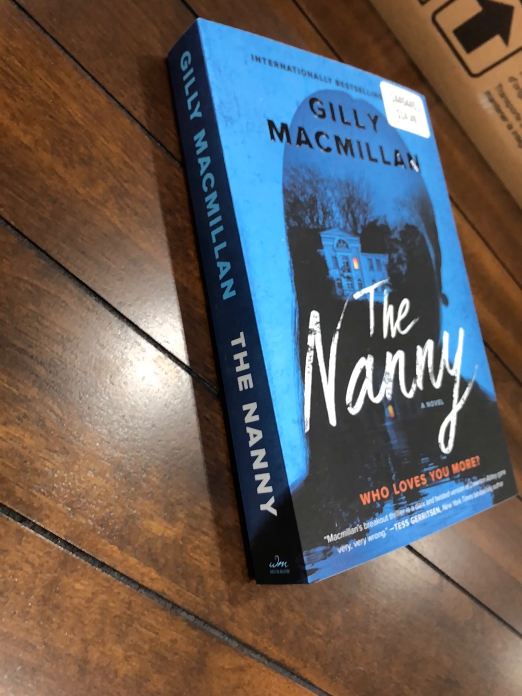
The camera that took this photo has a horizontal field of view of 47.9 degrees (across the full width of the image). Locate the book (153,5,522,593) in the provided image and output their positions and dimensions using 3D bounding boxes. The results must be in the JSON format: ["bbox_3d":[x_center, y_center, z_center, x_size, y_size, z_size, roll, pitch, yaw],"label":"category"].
[{"bbox_3d":[0.047,-0.026,0.282,0.161,0.040,0.230,-2,76,-37],"label":"book"}]
